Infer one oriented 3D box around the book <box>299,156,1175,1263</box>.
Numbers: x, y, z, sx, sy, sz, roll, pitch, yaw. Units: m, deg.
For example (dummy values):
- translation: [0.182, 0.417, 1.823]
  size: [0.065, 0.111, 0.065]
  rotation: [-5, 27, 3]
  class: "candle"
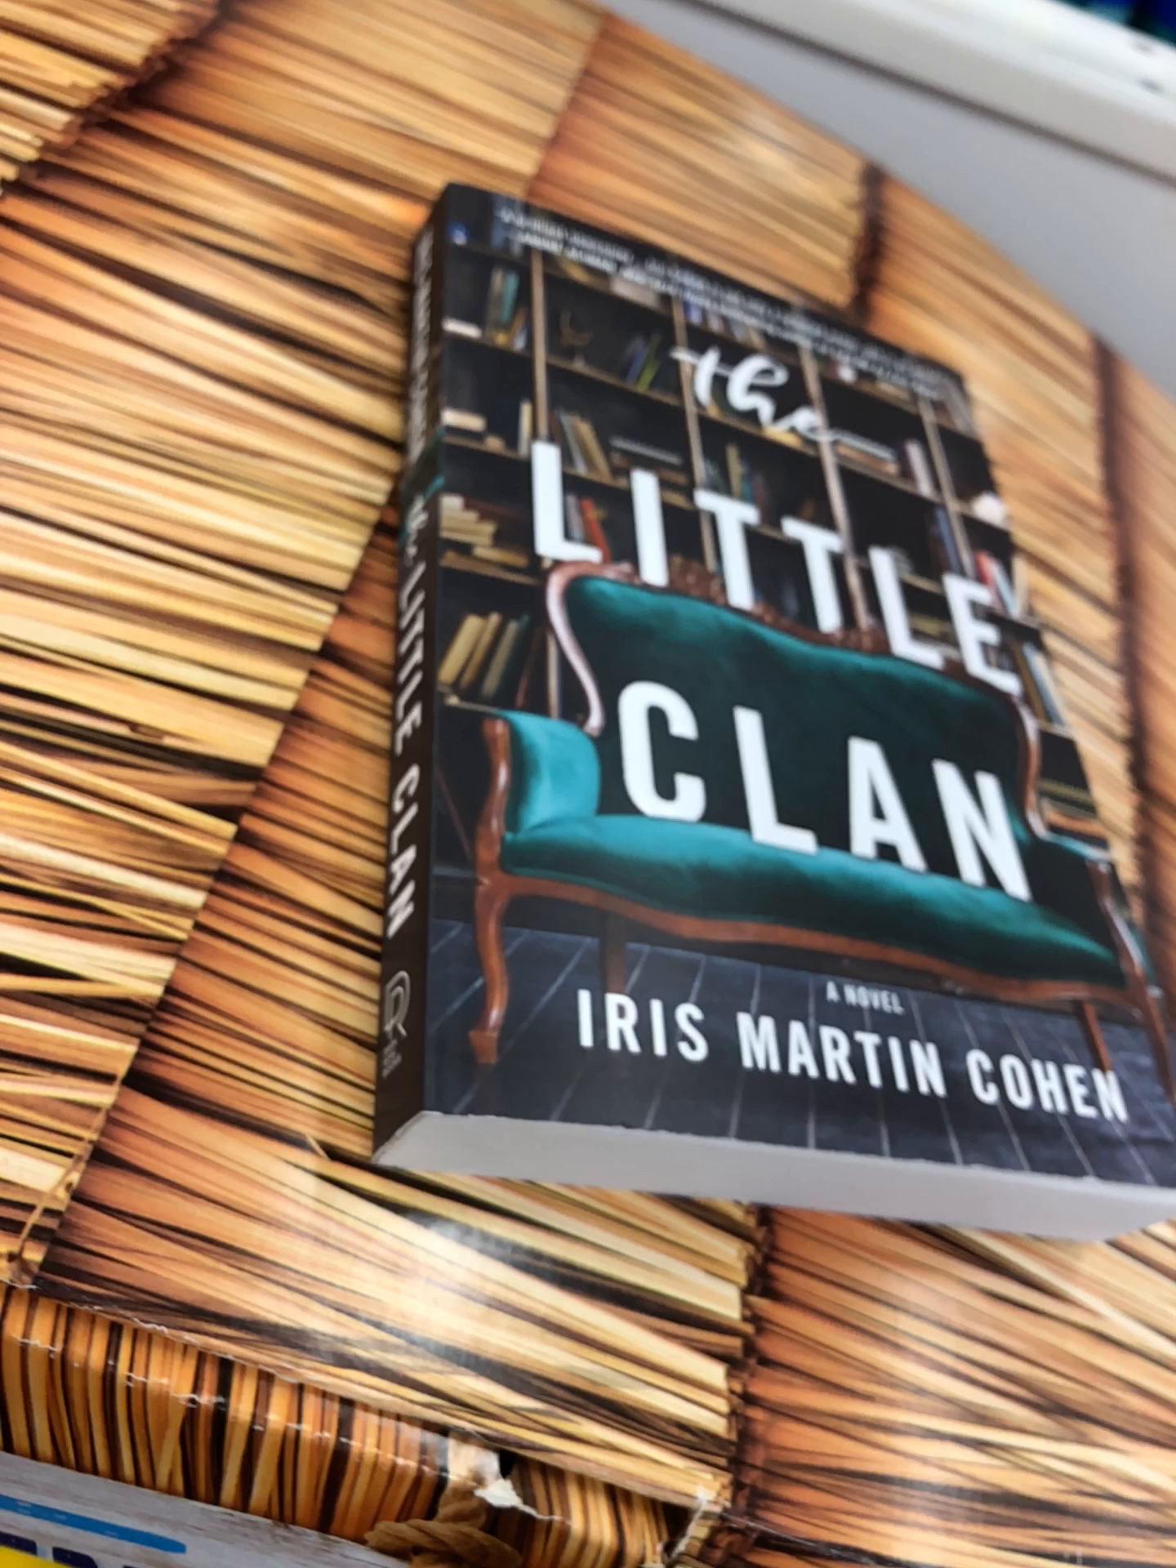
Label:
- translation: [0.026, -0.023, 0.234]
  size: [0.130, 0.030, 0.190]
  rotation: [13, 50, -20]
  class: "book"
